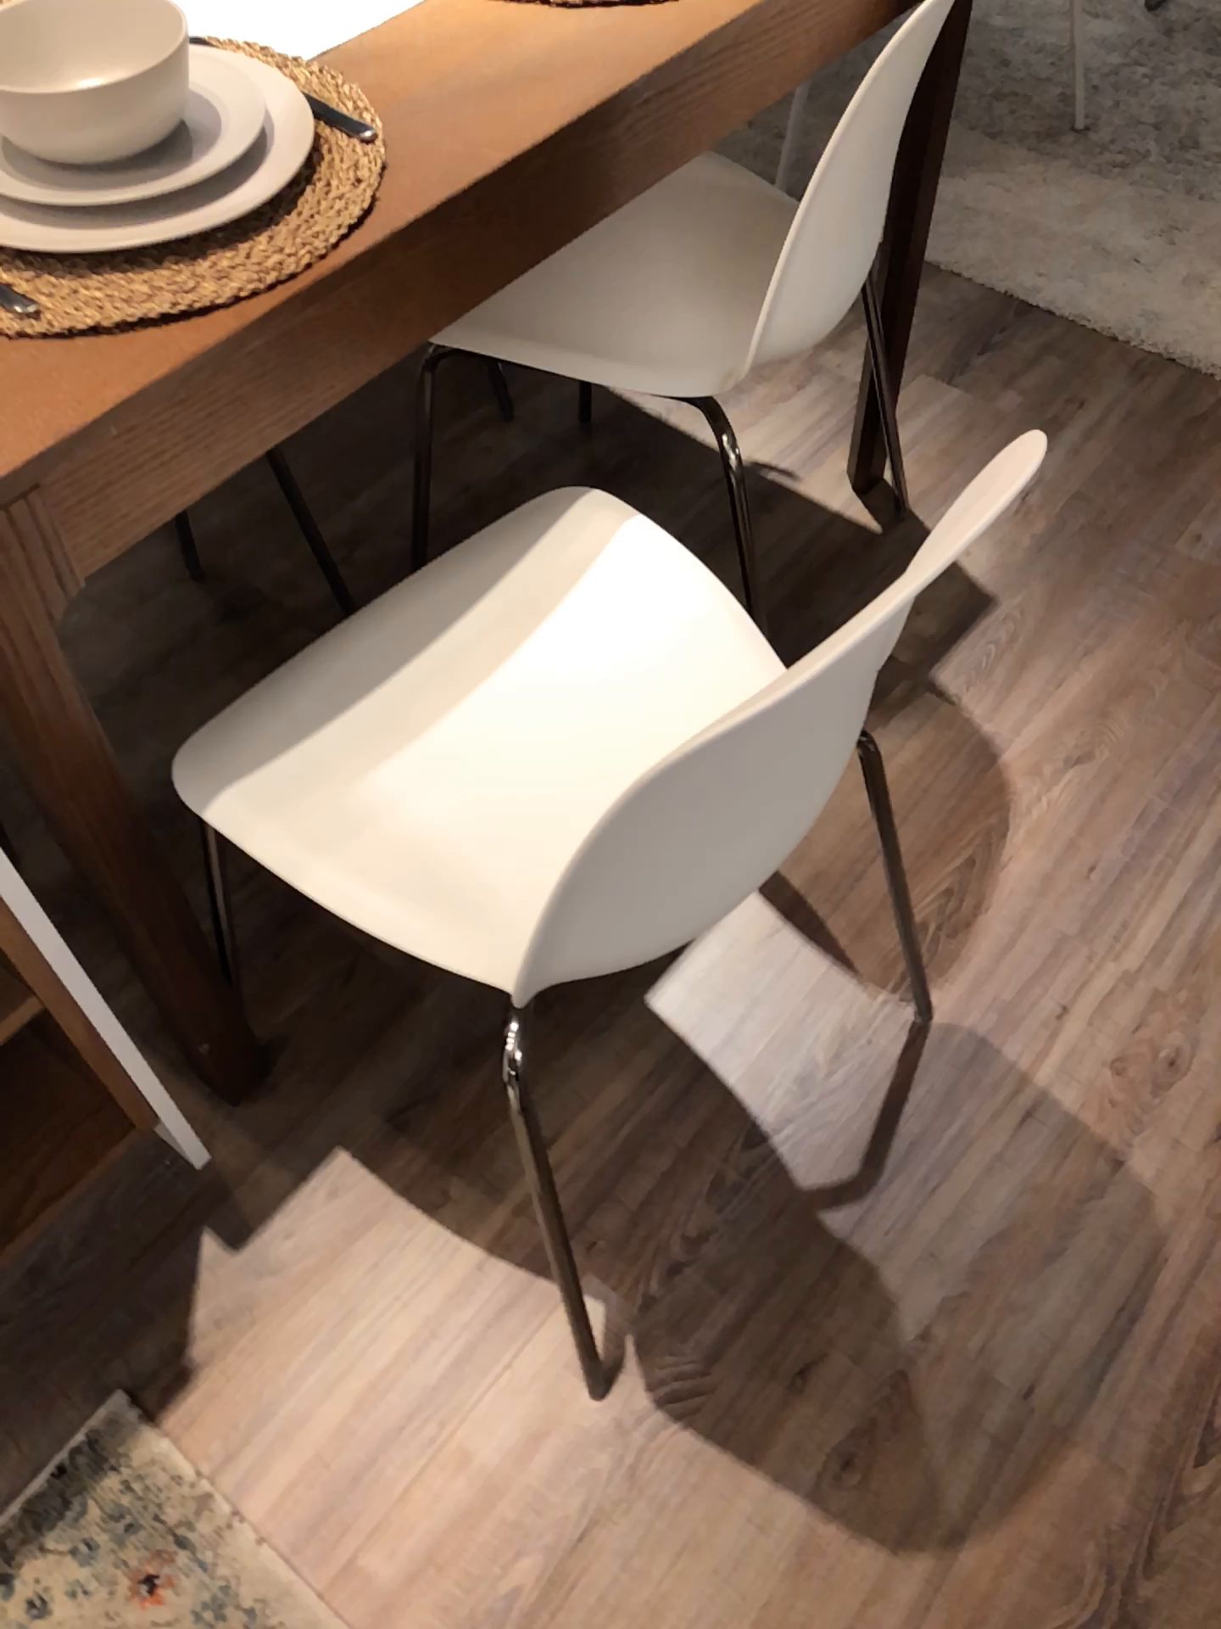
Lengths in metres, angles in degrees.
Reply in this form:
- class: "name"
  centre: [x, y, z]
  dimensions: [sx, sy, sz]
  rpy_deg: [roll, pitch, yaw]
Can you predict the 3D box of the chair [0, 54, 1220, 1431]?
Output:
- class: "chair"
  centre: [-0.035, -0.024, 1.003]
  dimensions: [0.532, 0.706, 0.541]
  rpy_deg: [37, 62, 24]
